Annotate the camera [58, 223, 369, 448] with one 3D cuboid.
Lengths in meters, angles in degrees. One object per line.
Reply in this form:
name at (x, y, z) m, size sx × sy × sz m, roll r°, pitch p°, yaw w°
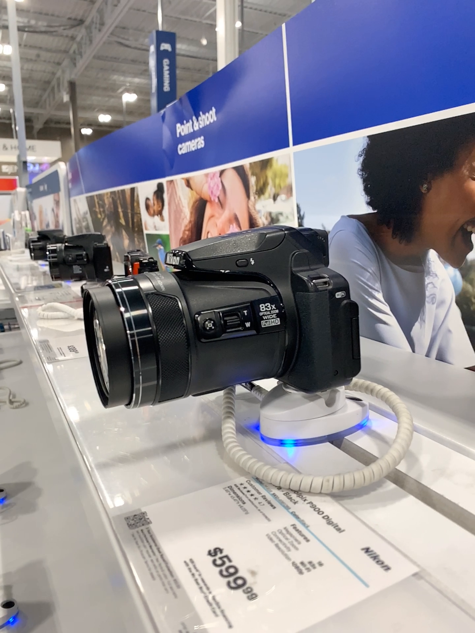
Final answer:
camera at (-0.024, -0.007, 0.320) m, size 0.153 × 0.100 × 0.140 m, roll -7°, pitch 14°, yaw -26°
